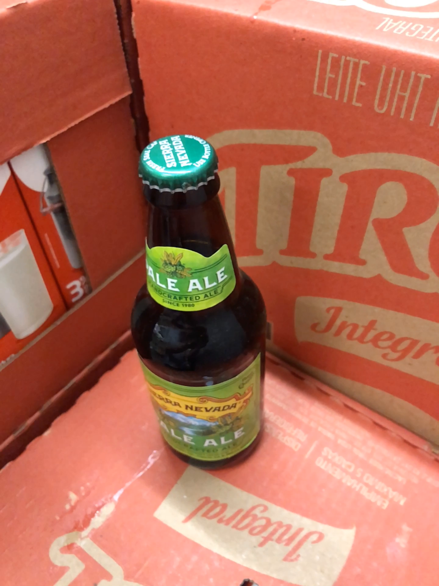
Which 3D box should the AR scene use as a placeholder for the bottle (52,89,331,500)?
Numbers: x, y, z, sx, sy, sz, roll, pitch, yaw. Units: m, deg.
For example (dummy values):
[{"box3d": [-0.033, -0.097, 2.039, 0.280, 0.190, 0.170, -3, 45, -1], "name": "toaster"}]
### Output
[{"box3d": [-0.004, 0.018, 0.226, 0.070, 0.189, 0.060, 16, 50, 16], "name": "bottle"}]
